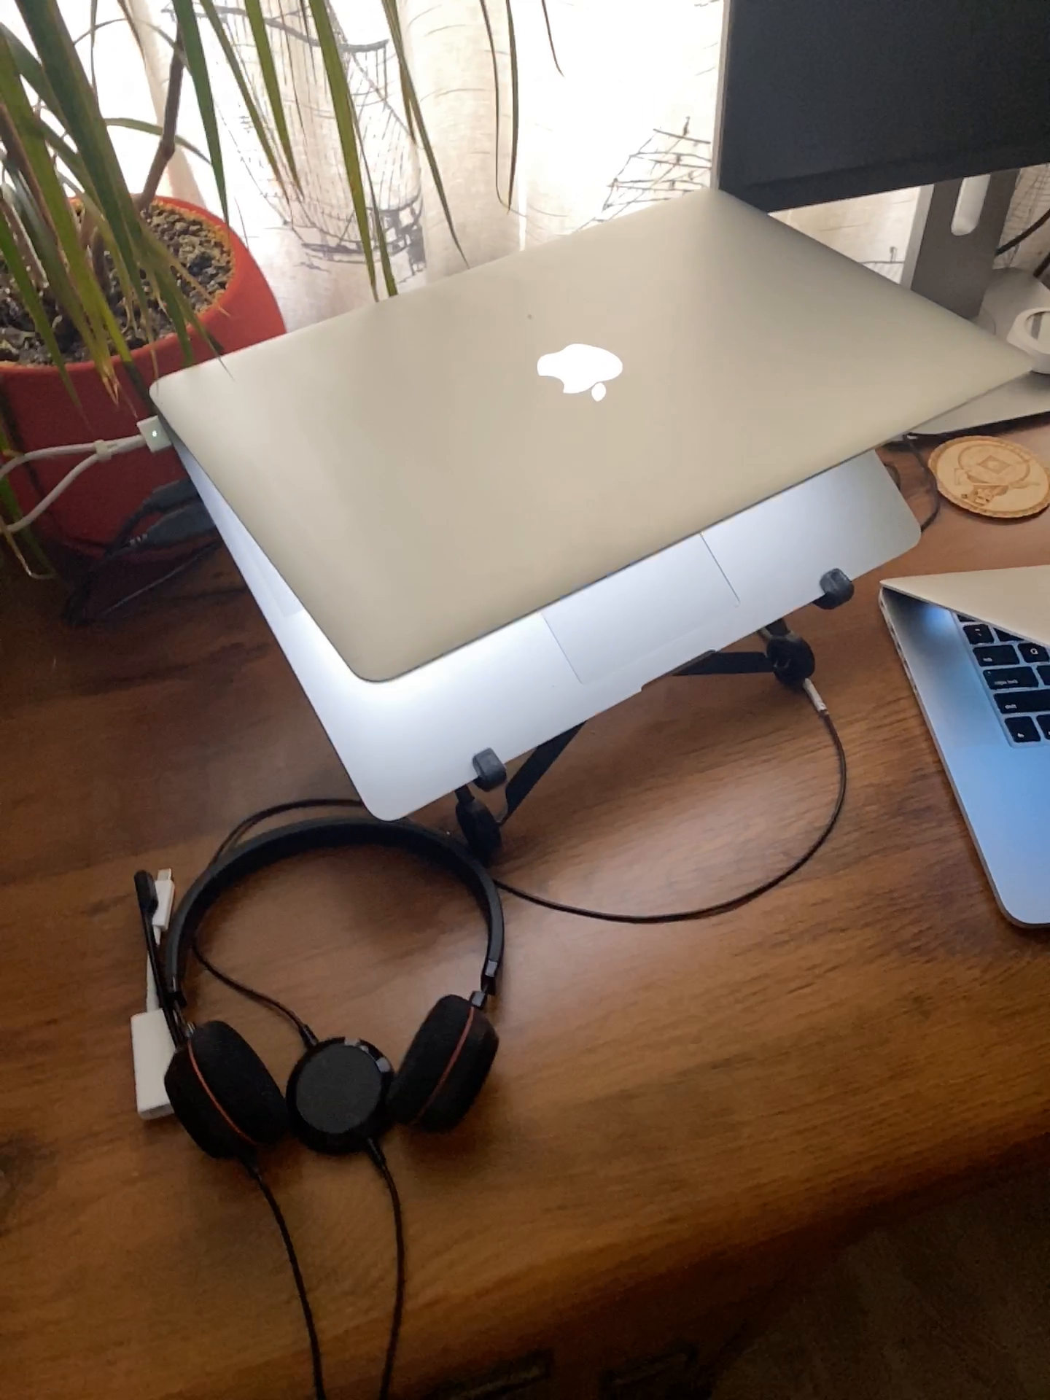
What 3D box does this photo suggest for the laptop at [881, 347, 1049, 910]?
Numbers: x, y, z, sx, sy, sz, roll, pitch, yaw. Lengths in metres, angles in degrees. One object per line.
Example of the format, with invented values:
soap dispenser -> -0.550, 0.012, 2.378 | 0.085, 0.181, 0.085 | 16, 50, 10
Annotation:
laptop -> 0.418, -0.043, 0.573 | 0.355, 0.152, 0.236 | -4, 52, -2

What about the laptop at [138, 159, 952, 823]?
laptop -> 0.024, -0.130, 0.562 | 0.355, 0.022, 0.243 | -27, 80, -18
